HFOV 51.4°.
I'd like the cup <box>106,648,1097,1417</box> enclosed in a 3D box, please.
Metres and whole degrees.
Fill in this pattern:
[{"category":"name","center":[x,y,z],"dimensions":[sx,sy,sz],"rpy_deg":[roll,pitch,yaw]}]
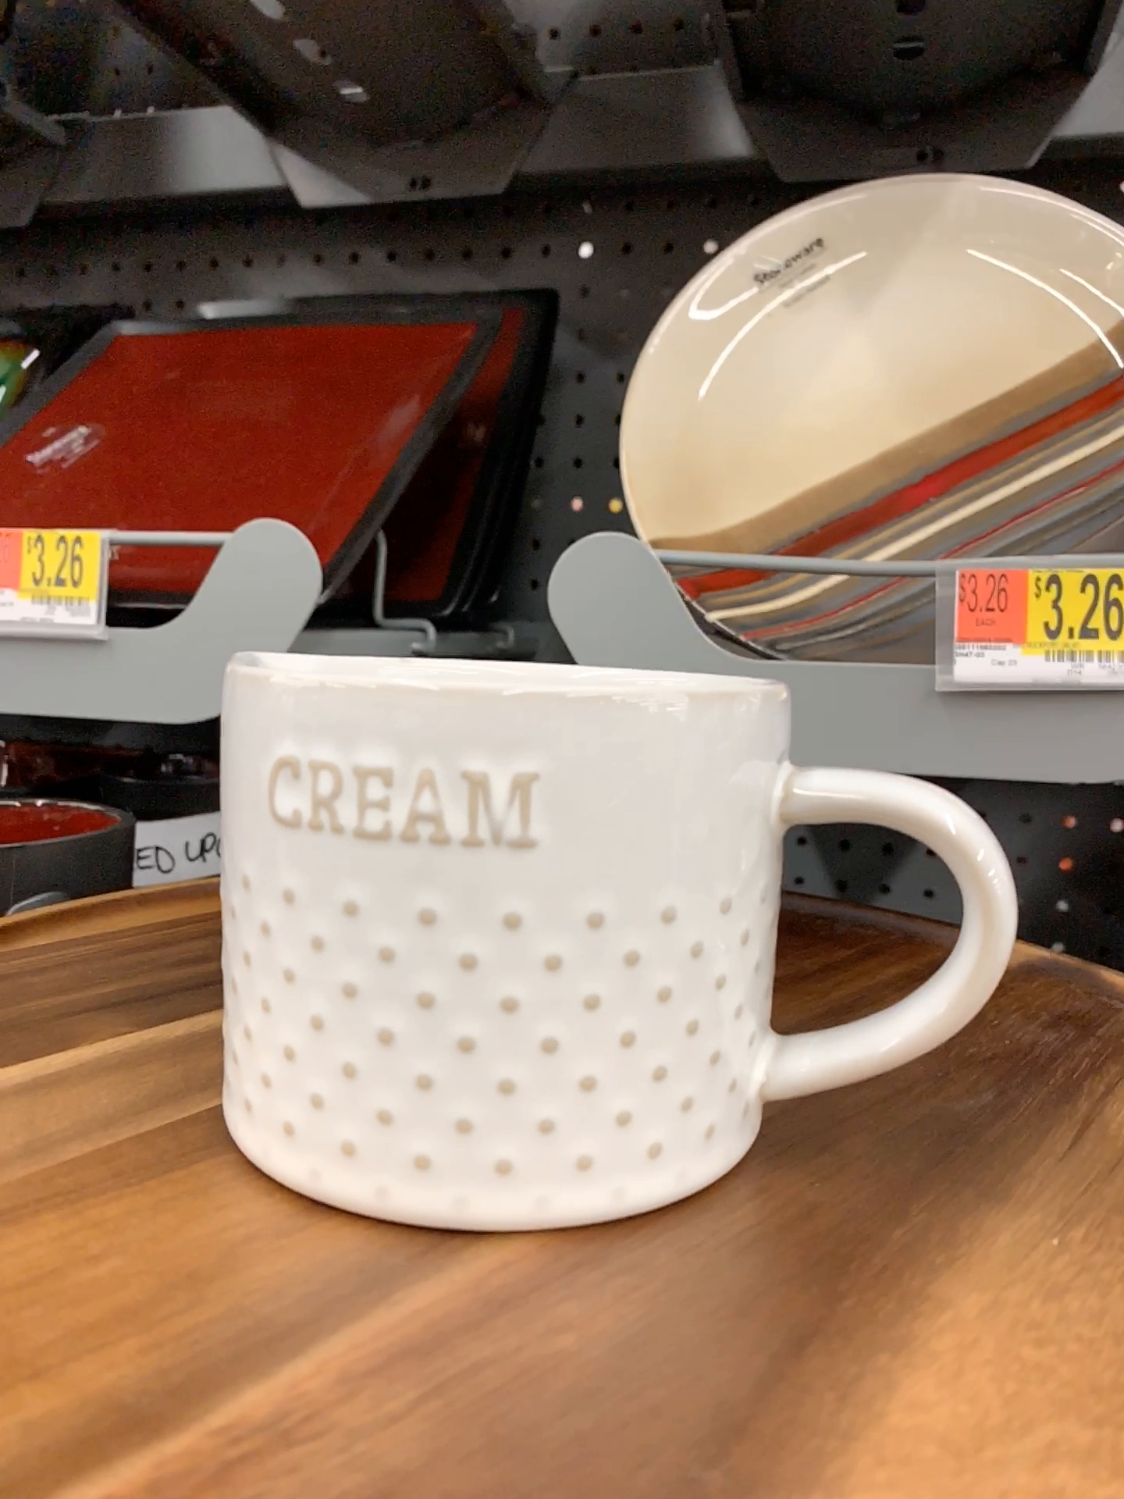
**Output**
[{"category":"cup","center":[0.010,0.031,0.220],"dimensions":[0.150,0.090,0.100],"rpy_deg":[5,7,20]}]
